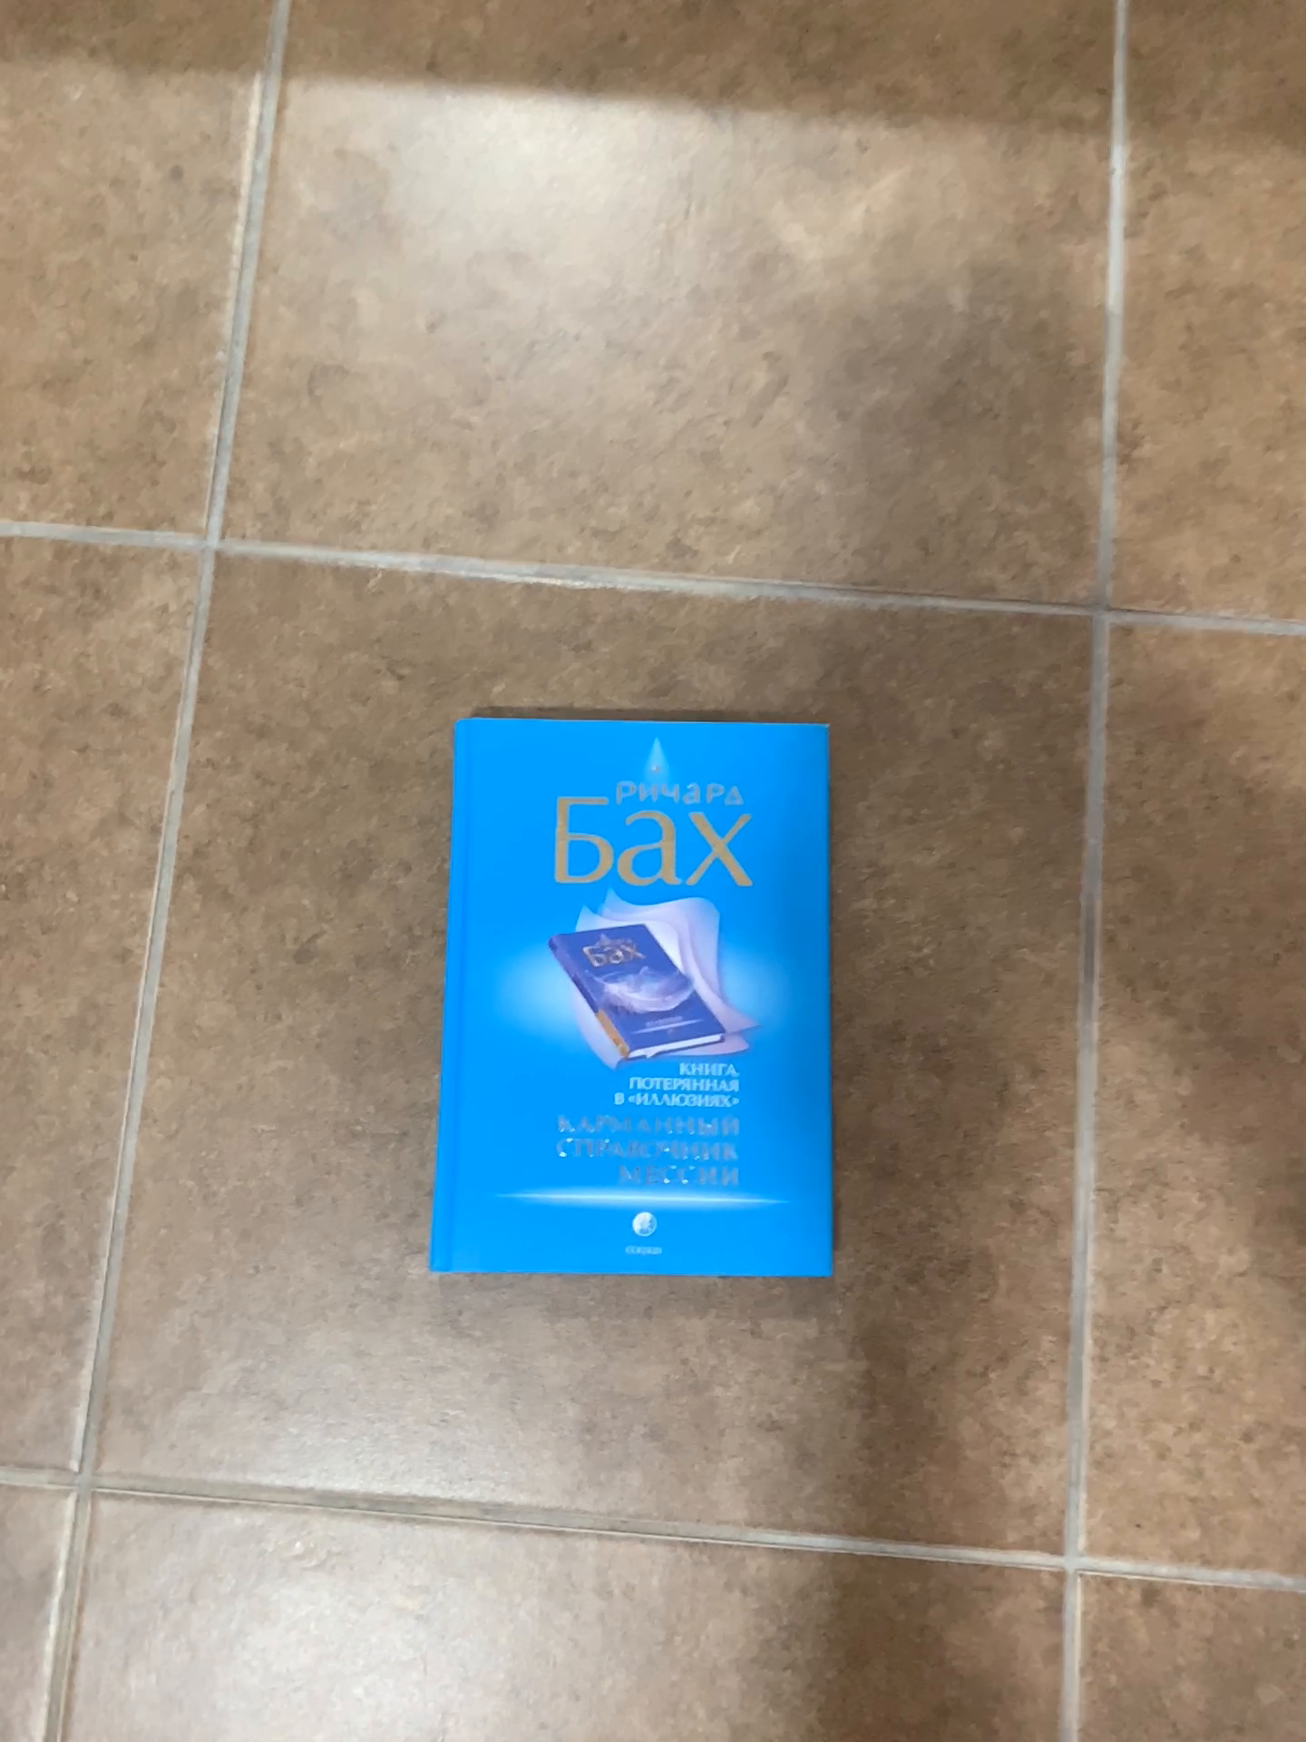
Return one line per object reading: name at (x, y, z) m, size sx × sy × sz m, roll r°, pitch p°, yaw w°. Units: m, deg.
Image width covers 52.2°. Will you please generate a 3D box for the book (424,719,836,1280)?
book at (-0.005, 0.038, 0.416) m, size 0.122 × 0.015 × 0.169 m, roll 1°, pitch 81°, yaw 1°
